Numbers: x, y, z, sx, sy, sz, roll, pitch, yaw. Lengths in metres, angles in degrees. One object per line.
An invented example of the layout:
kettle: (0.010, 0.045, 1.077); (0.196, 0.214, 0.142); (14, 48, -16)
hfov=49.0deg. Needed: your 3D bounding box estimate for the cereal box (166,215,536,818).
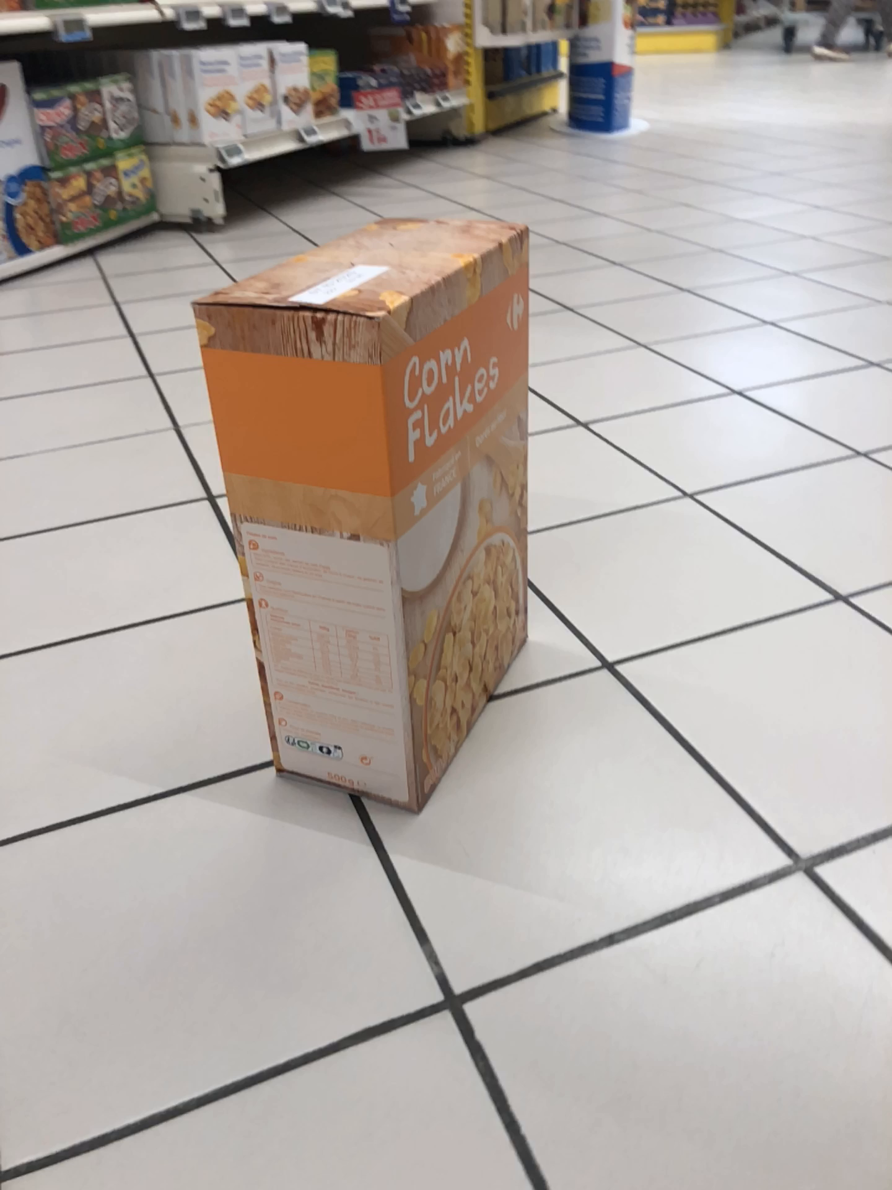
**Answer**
cereal box: (-0.031, -0.054, 0.571); (0.110, 0.278, 0.201); (10, 33, 20)
